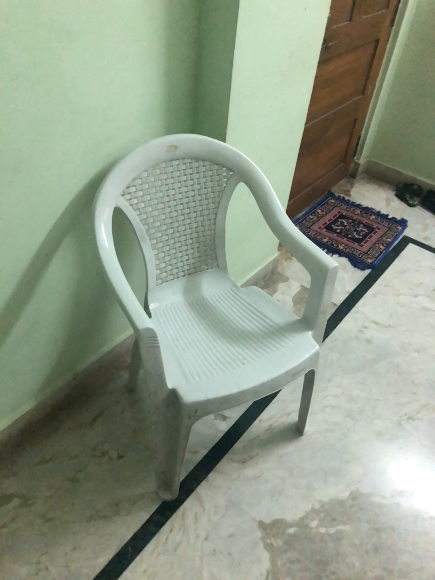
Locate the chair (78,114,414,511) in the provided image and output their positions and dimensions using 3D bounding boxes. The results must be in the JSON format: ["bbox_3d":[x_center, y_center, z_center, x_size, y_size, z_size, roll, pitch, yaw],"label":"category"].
[{"bbox_3d":[0.003,0.061,1.292,0.531,0.824,0.533,-15,46,-23],"label":"chair"}]
